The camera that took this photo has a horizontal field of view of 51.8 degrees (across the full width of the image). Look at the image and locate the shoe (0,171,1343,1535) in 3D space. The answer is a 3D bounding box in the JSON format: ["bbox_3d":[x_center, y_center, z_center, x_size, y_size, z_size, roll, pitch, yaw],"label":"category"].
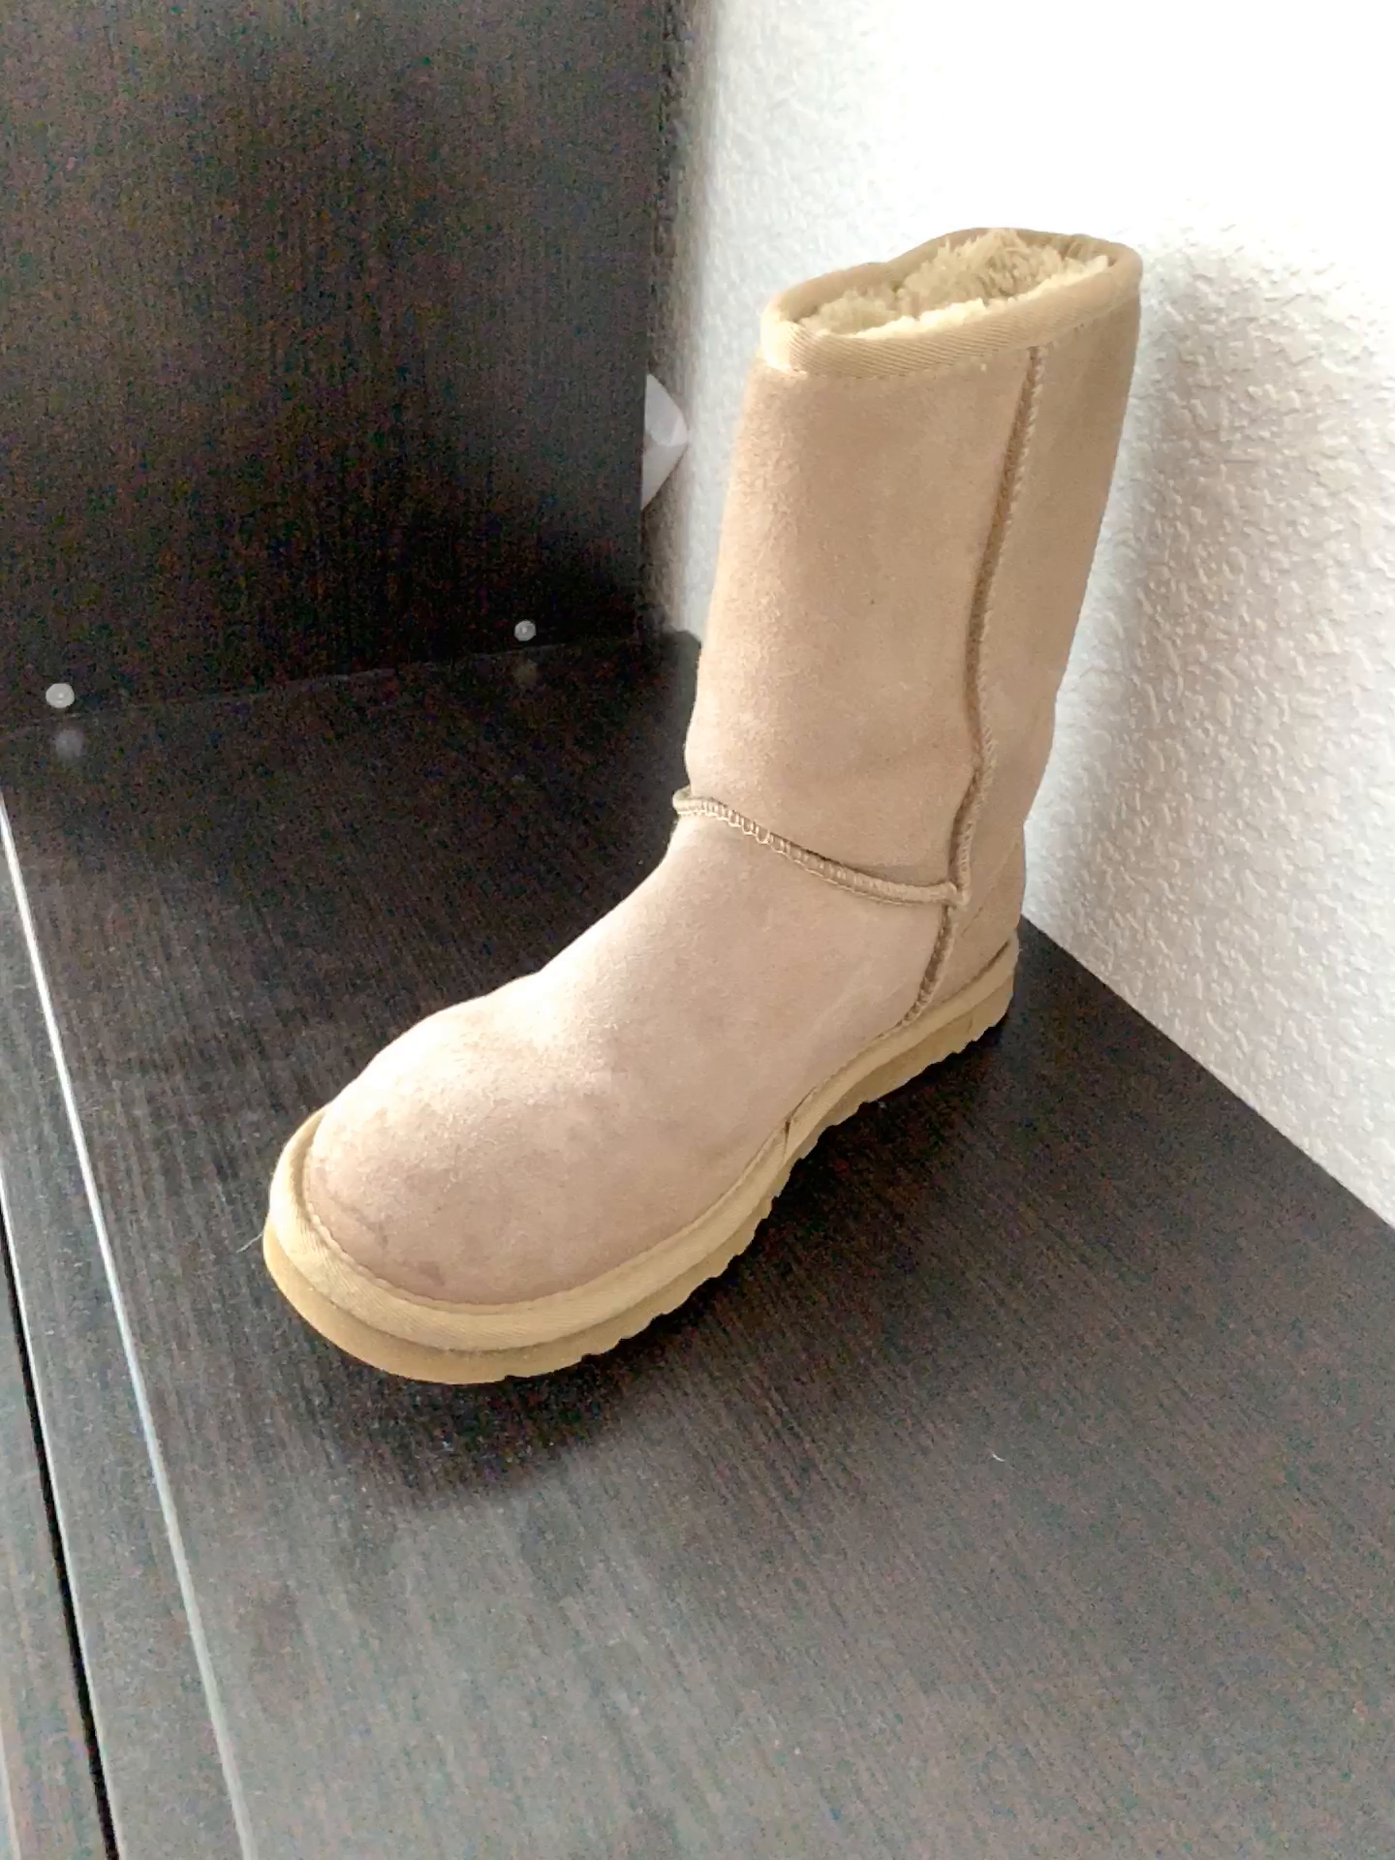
[{"bbox_3d":[0.009,-0.041,0.348,0.116,0.229,0.261,32,43,34],"label":"shoe"}]
